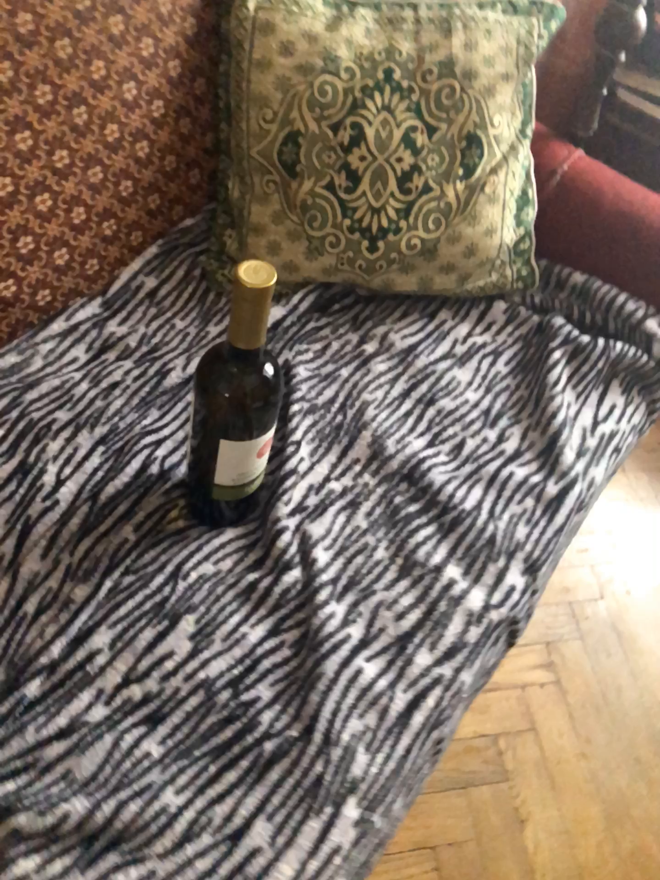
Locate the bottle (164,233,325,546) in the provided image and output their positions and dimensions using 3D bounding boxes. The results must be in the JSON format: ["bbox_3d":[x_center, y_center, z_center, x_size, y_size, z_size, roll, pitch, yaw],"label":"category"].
[{"bbox_3d":[-0.077,-0.027,0.610,0.080,0.268,0.080,5,52,-7],"label":"bottle"}]
